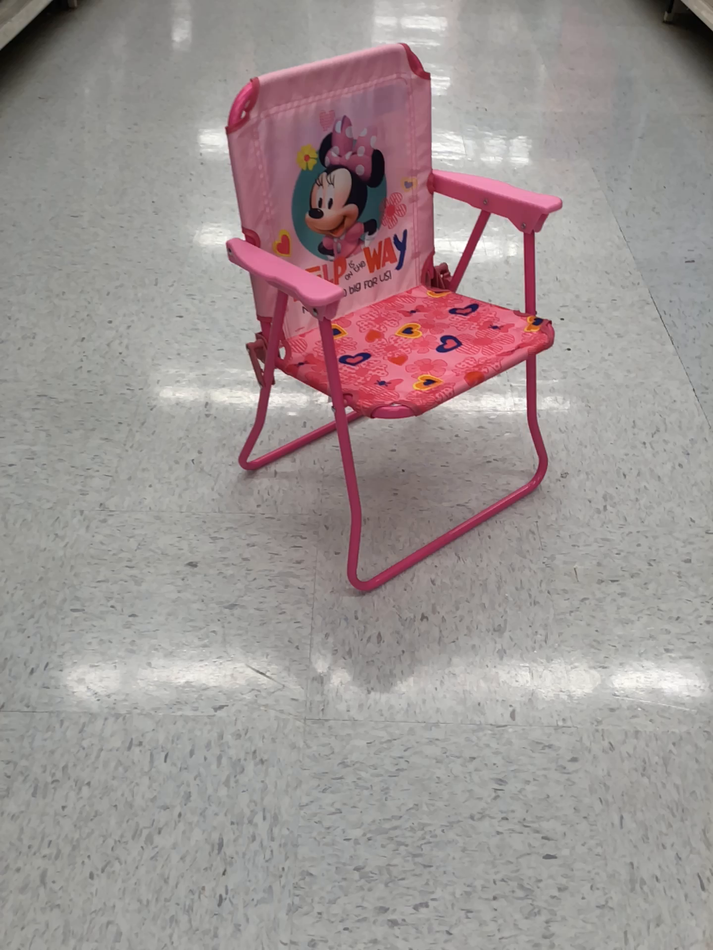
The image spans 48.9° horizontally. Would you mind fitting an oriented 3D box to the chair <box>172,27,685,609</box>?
[{"bbox_3d":[0.060,-0.188,0.928,0.360,0.488,0.341,-28,52,-26],"label":"chair"}]
